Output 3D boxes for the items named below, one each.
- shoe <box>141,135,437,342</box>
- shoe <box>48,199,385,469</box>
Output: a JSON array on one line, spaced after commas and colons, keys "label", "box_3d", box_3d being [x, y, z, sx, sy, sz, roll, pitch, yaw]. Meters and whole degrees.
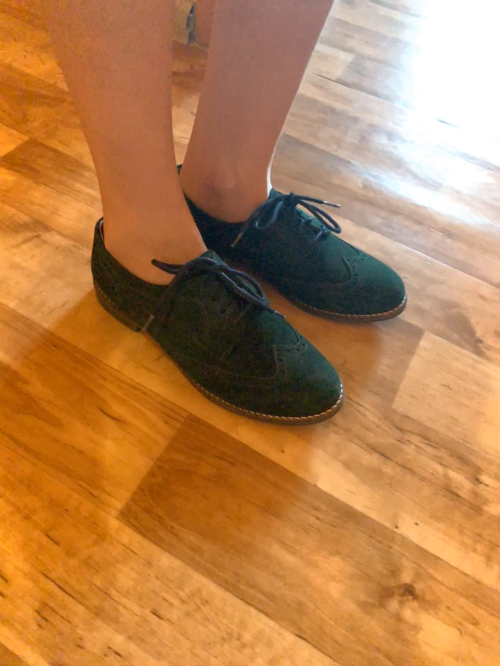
[{"label": "shoe", "box_3d": [0.035, -0.092, 0.490, 0.250, 0.080, 0.100, 19, 55, 5]}, {"label": "shoe", "box_3d": [-0.033, -0.004, 0.439, 0.260, 0.080, 0.090, 30, 57, 13]}]
